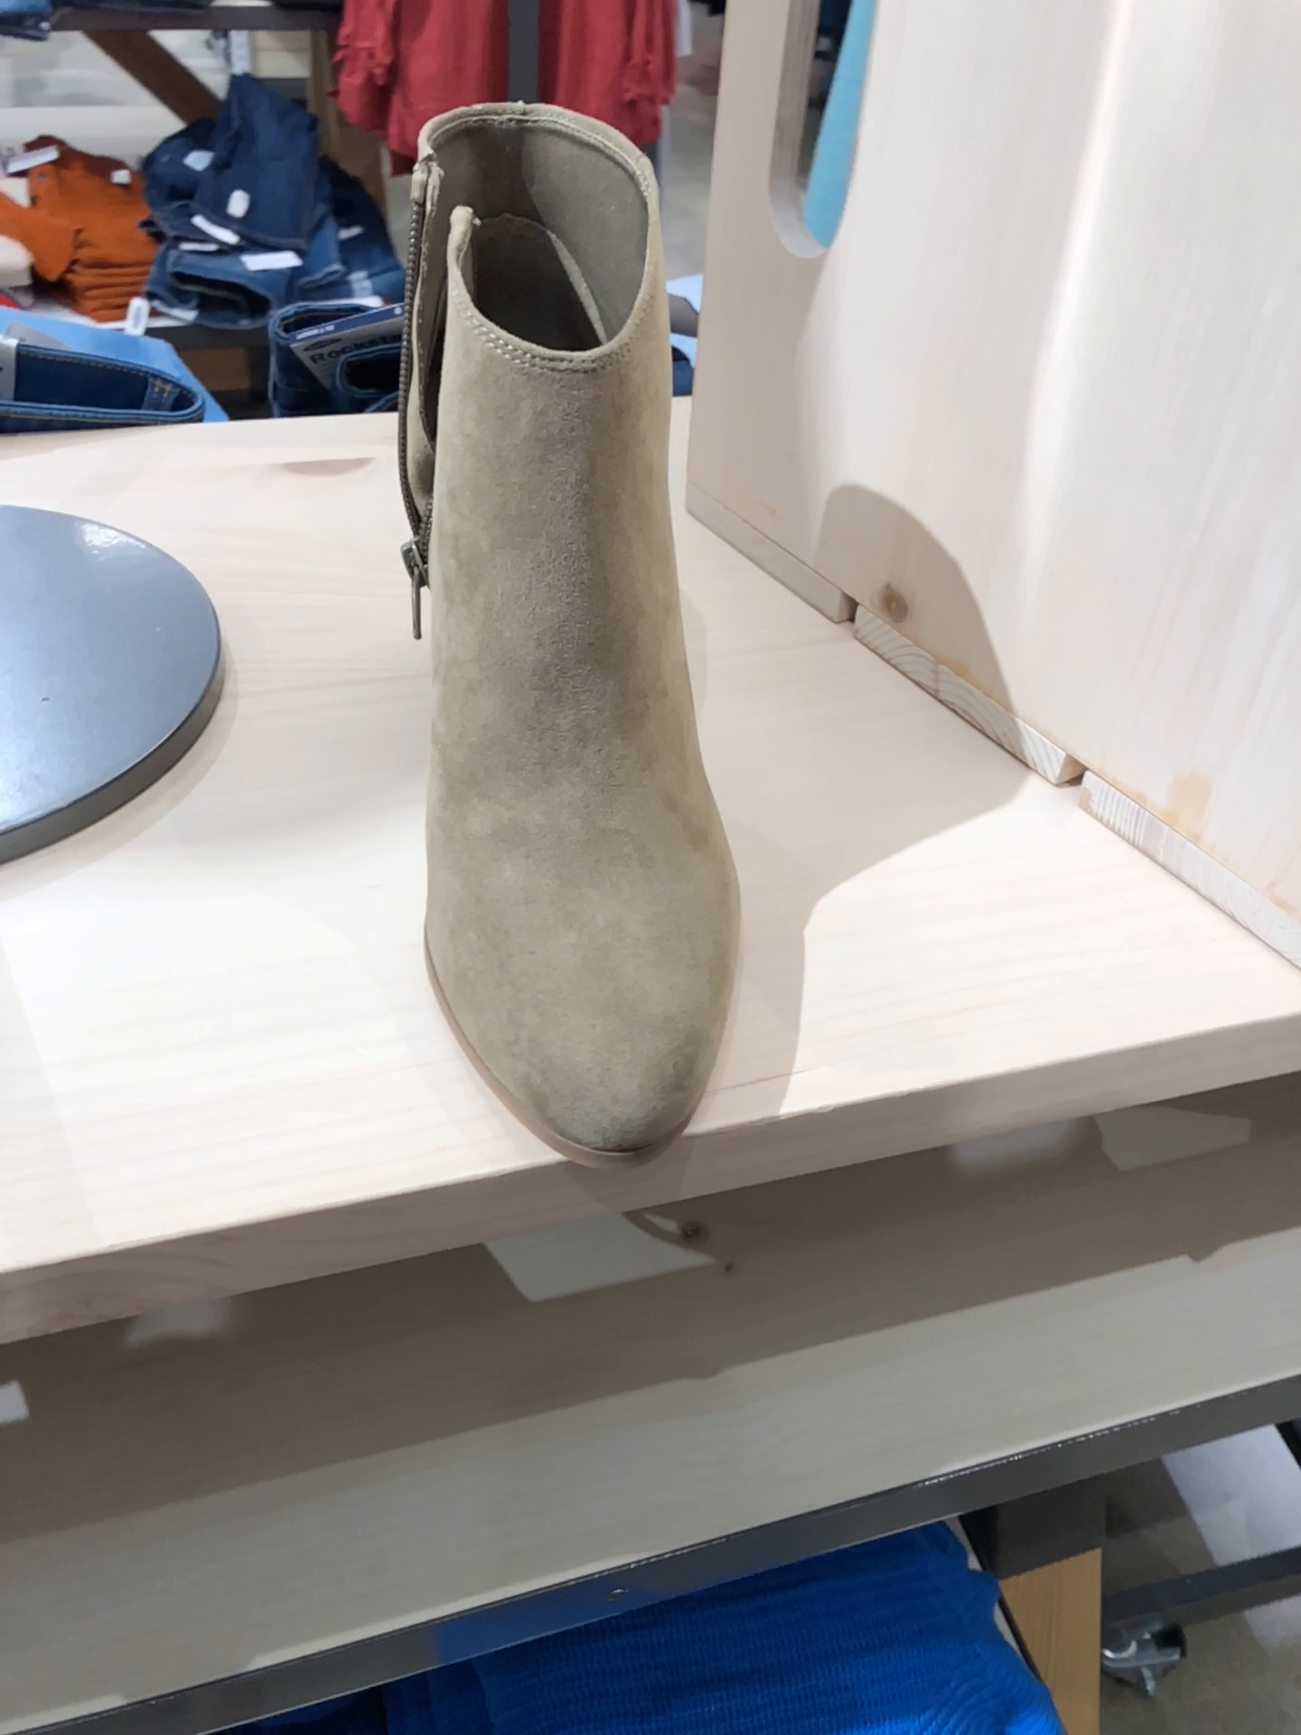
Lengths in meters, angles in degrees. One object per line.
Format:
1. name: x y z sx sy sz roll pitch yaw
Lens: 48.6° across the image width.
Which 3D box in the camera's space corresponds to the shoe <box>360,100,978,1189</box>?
1. shoe: -0.019 -0.070 0.363 0.090 0.169 0.231 -4 41 -11
